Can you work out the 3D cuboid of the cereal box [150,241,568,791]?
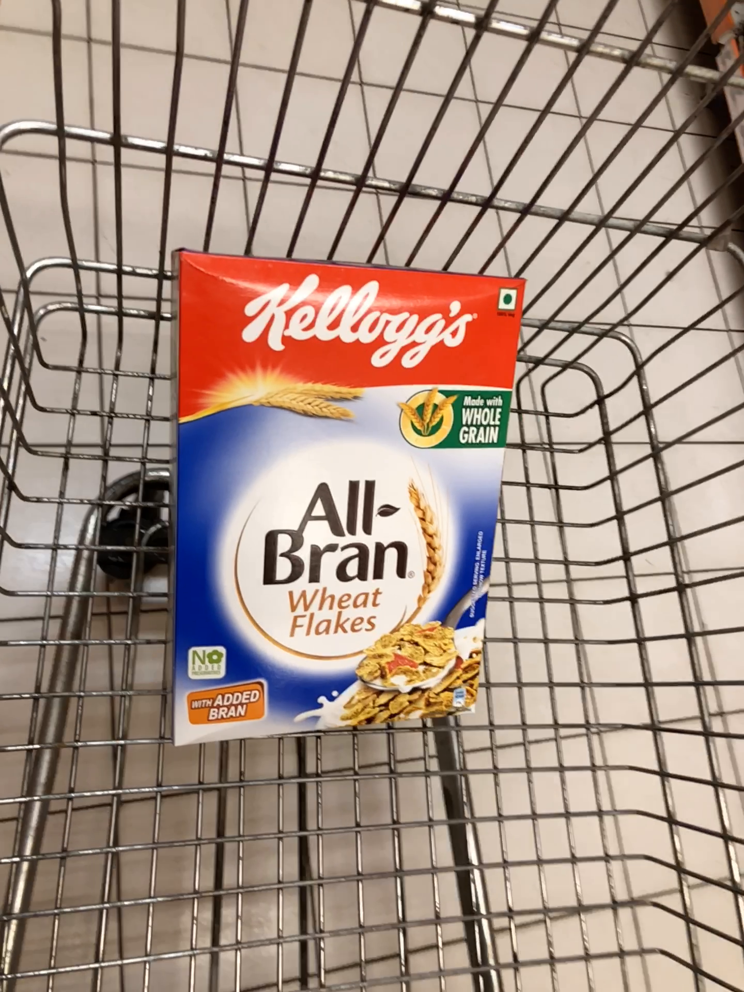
[{"bbox_3d":[-0.018,0.011,0.451,0.190,0.080,0.269,0,109,-20],"label":"cereal box"}]
